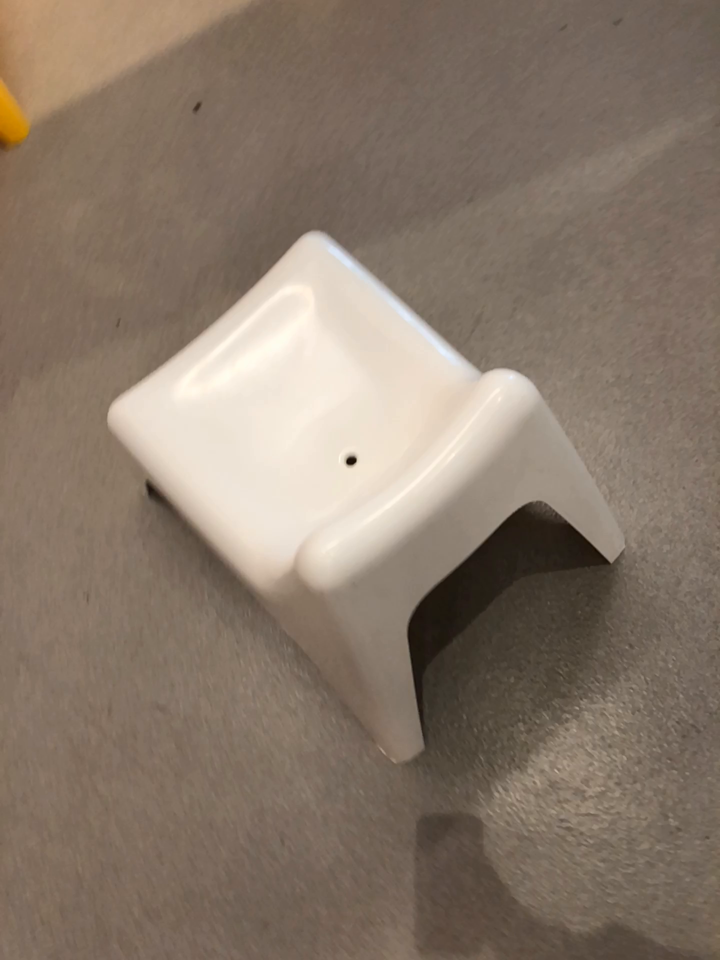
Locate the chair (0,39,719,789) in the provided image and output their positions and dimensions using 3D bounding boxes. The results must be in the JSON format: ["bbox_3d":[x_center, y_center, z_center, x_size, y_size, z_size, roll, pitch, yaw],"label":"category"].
[{"bbox_3d":[-0.024,-0.075,0.996,0.530,0.400,0.690,-45,67,-7],"label":"chair"}]
